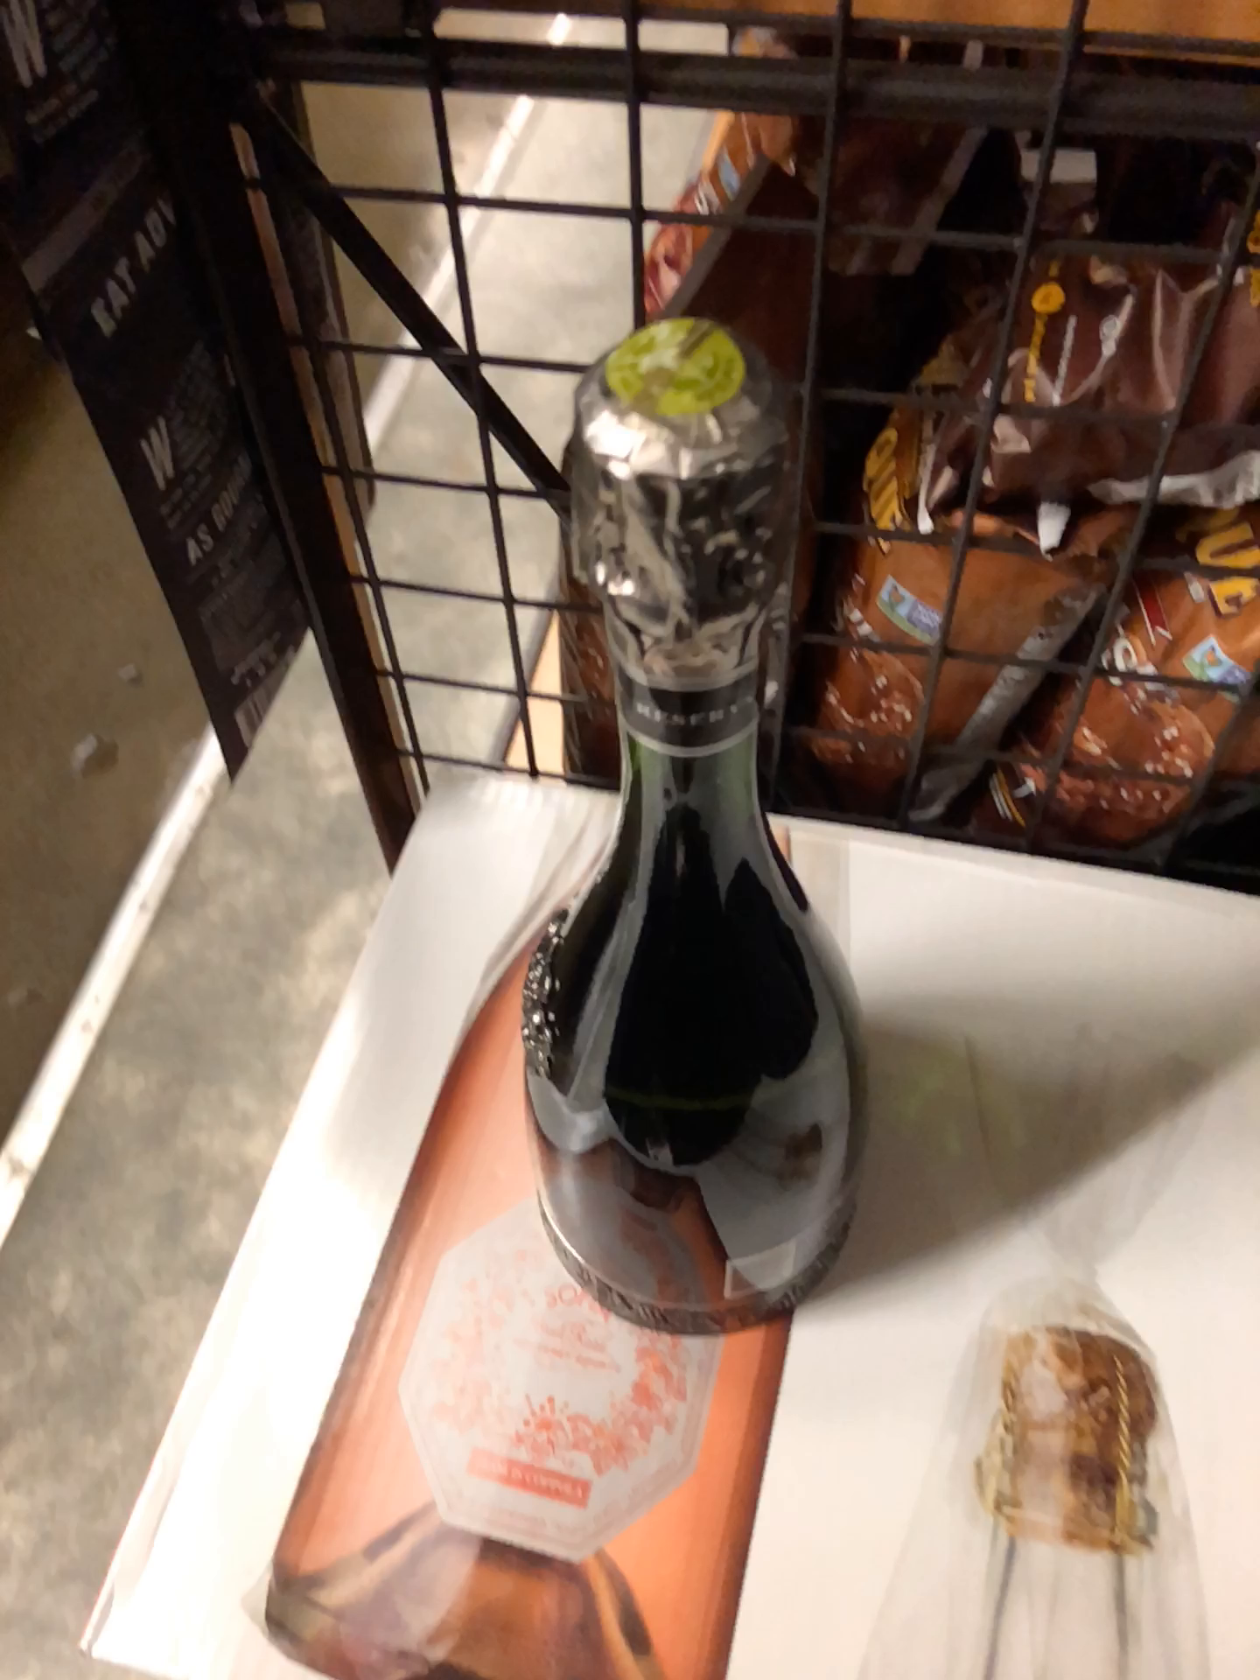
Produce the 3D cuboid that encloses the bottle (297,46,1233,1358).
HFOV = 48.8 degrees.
[{"bbox_3d":[0.024,0.012,0.335,0.110,0.333,0.122,2,55,4],"label":"bottle"}]
